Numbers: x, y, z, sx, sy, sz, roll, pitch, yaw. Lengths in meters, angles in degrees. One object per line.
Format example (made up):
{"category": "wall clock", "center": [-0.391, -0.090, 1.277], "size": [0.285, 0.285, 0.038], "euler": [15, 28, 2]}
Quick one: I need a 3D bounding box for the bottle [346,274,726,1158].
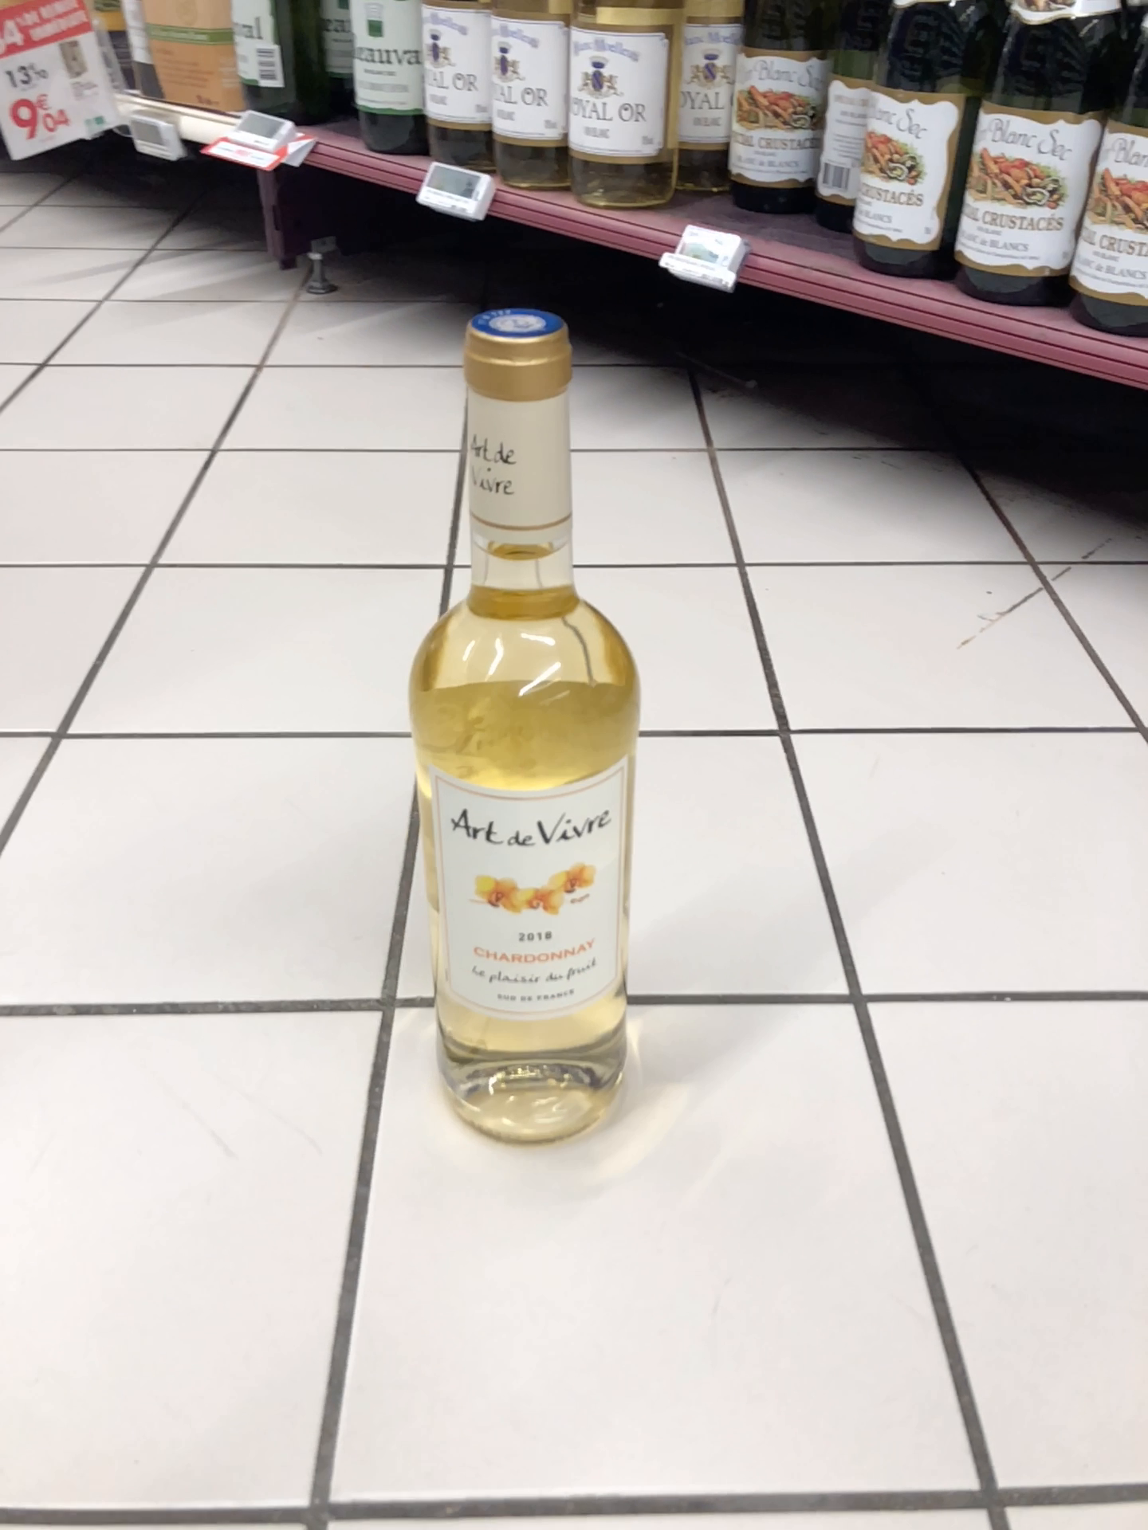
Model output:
{"category": "bottle", "center": [-0.013, -0.001, 0.418], "size": [0.090, 0.288, 0.090], "euler": [0, 36, 0]}
